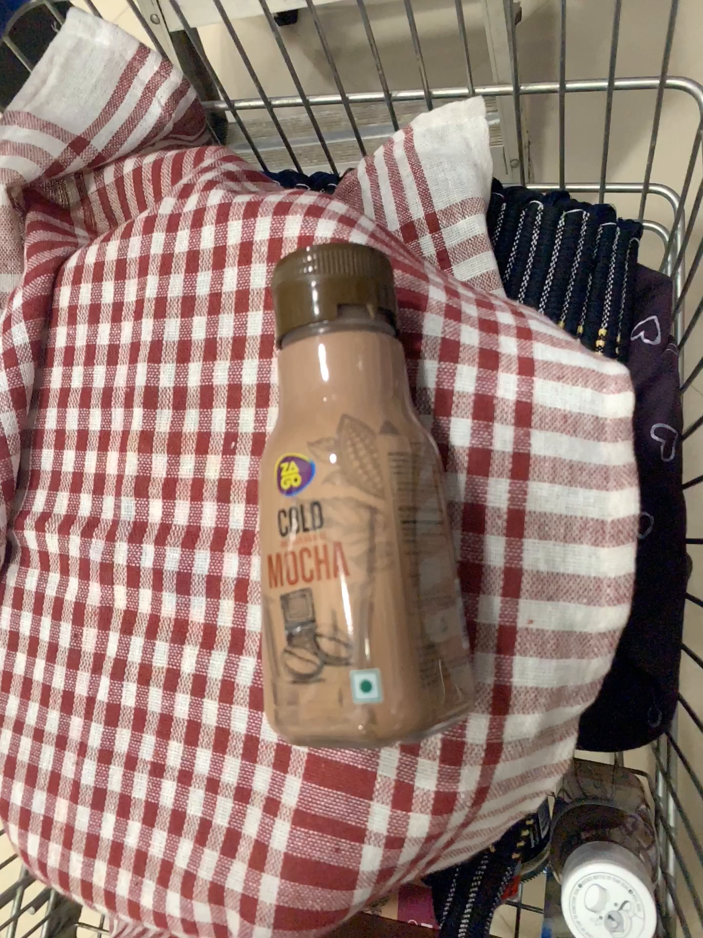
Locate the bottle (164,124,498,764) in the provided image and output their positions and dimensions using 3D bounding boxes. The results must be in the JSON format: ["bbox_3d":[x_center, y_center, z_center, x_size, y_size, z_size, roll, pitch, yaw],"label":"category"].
[{"bbox_3d":[-0.006,-0.004,0.231,0.060,0.070,0.170,-12,80,30],"label":"bottle"}]
